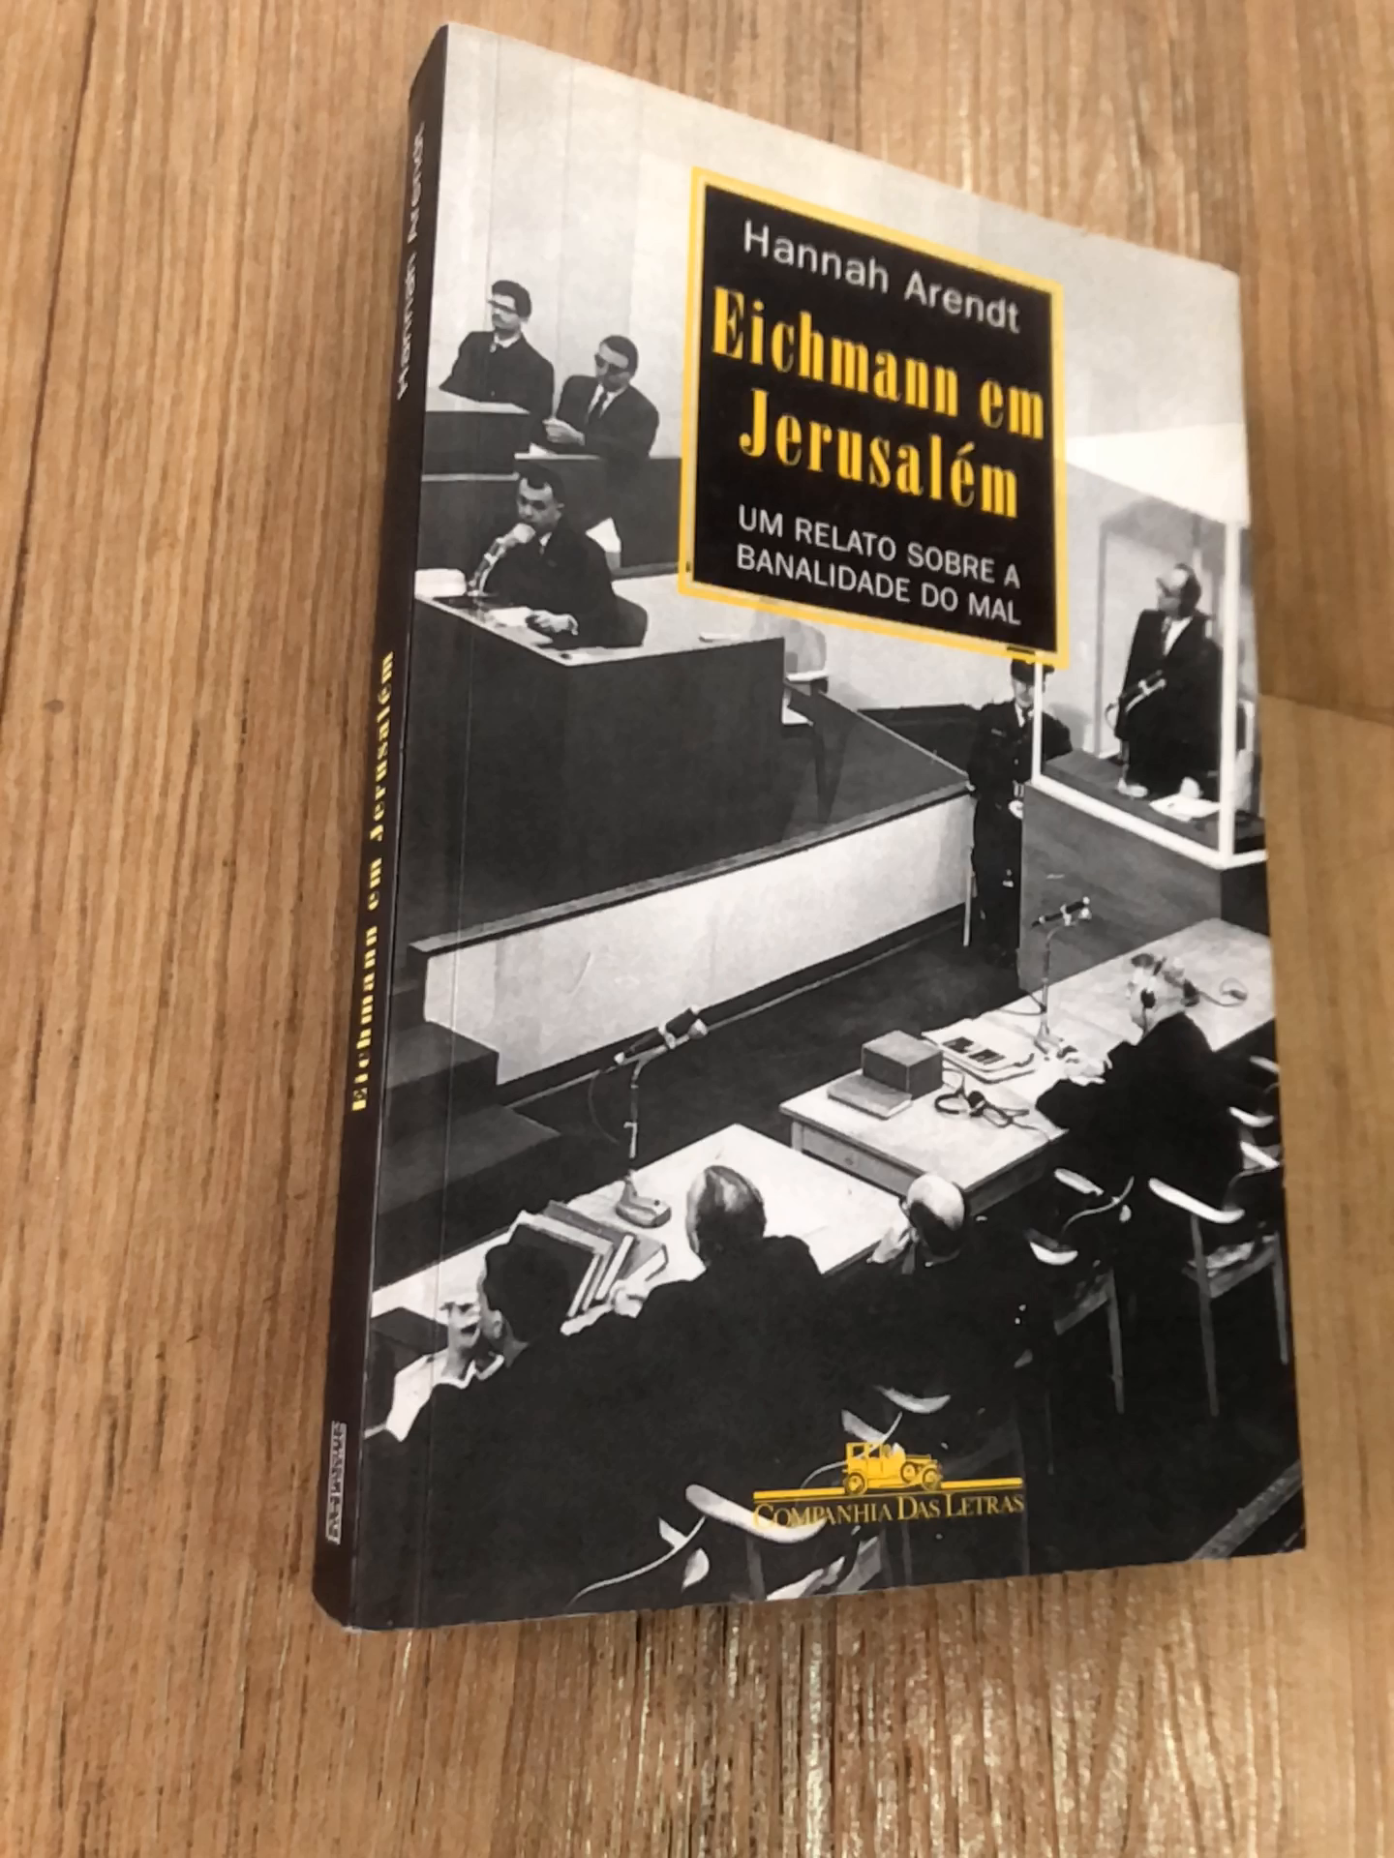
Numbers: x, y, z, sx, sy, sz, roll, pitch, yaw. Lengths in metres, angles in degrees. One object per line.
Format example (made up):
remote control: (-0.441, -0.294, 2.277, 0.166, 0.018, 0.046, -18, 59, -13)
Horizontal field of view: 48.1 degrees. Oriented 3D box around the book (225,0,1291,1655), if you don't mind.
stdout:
book: (0.015, -0.015, 0.222, 0.141, 0.030, 0.200, 6, 78, -25)
